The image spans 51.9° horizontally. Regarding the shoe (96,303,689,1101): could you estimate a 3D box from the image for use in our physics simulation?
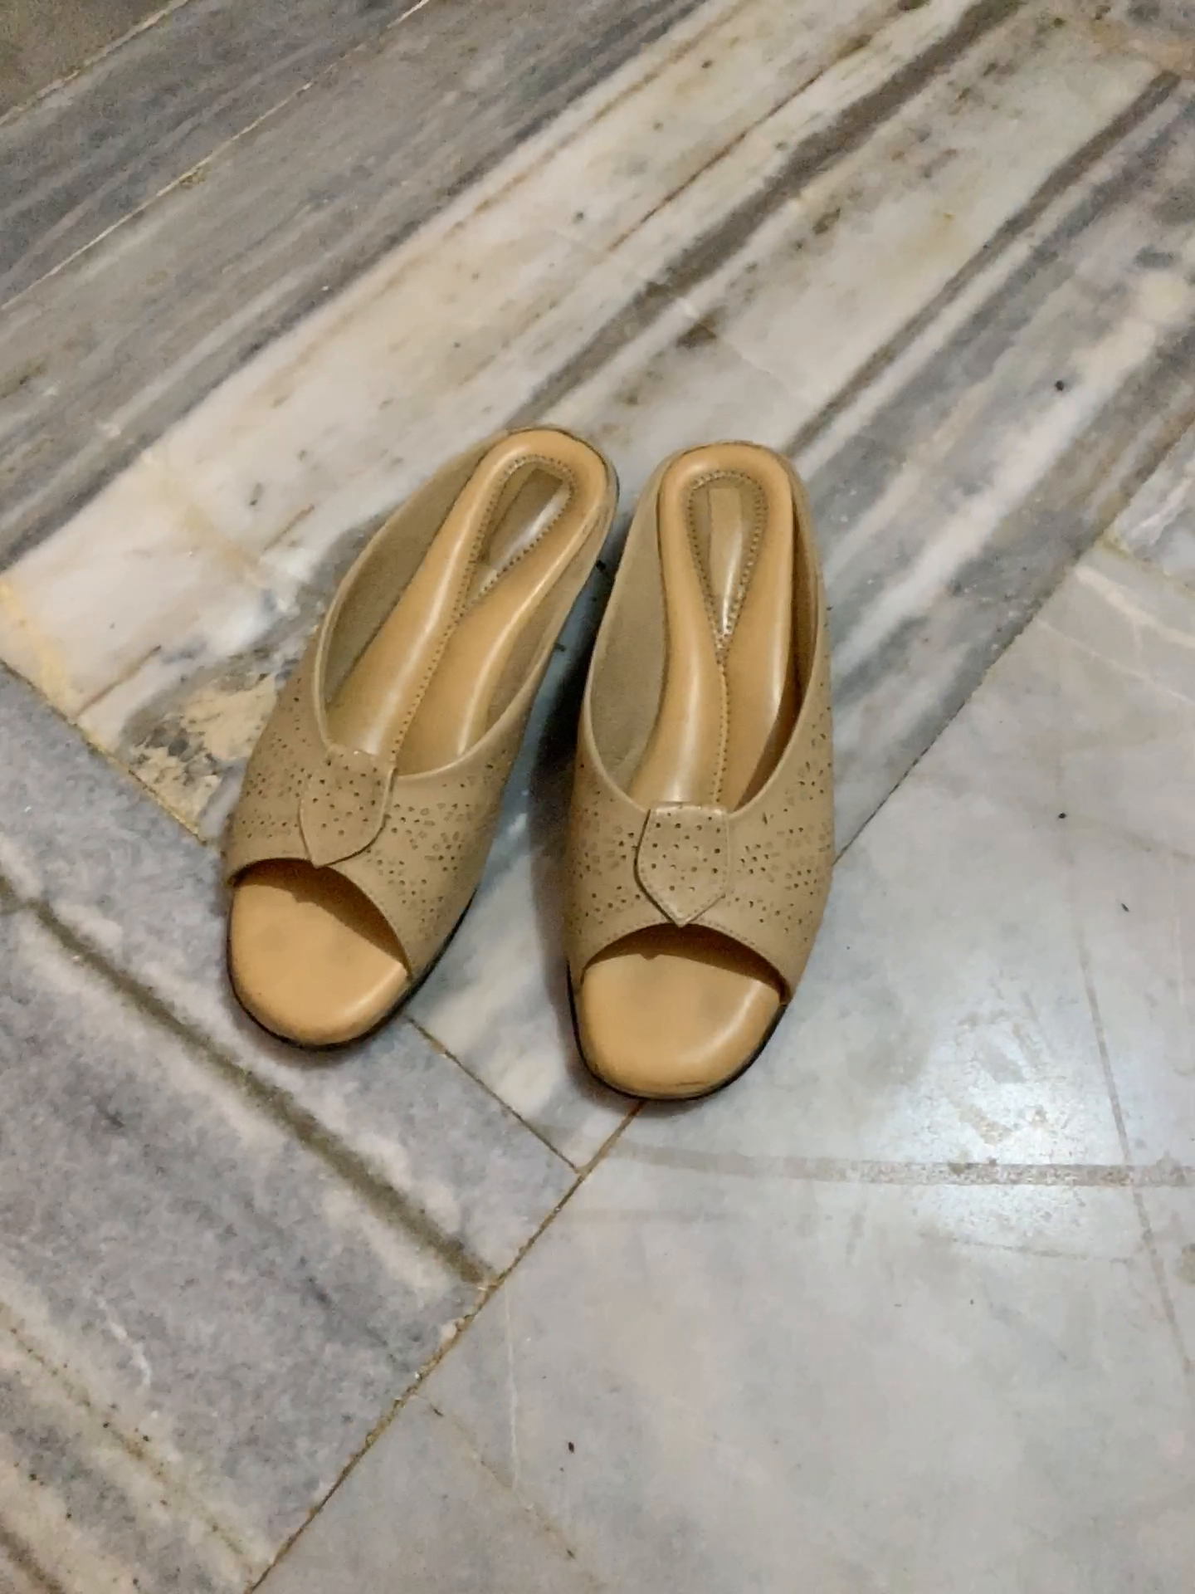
[{"bbox_3d":[-0.057,-0.044,0.443,0.095,0.070,0.273,18,67,8],"label":"shoe"}]

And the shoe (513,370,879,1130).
[{"bbox_3d":[0.040,-0.025,0.441,0.095,0.070,0.260,7,66,3],"label":"shoe"}]
